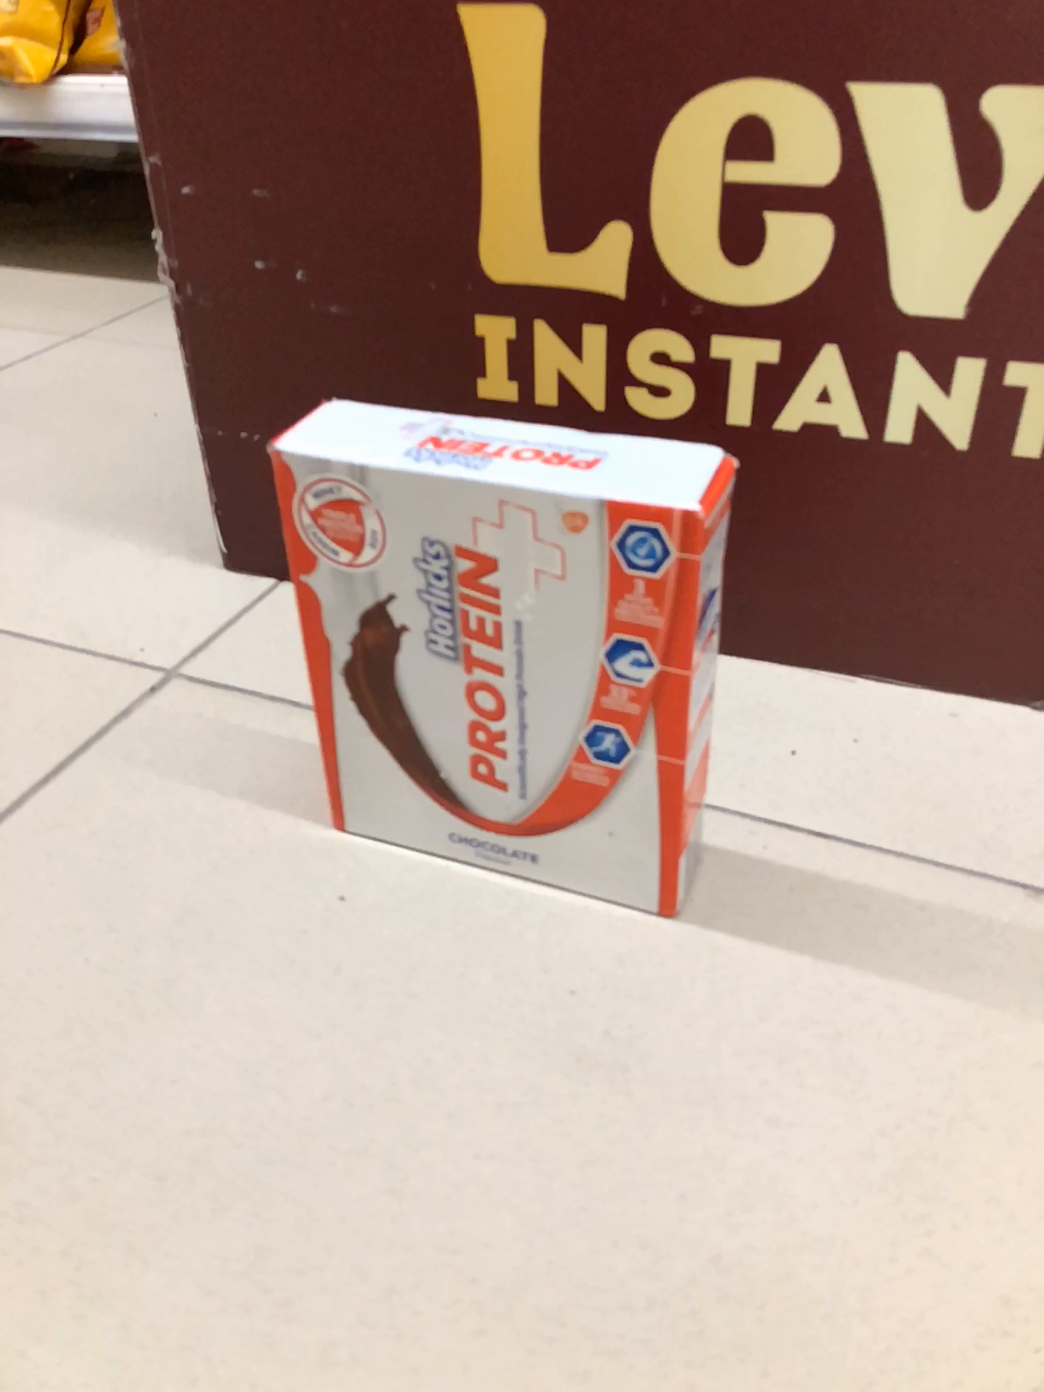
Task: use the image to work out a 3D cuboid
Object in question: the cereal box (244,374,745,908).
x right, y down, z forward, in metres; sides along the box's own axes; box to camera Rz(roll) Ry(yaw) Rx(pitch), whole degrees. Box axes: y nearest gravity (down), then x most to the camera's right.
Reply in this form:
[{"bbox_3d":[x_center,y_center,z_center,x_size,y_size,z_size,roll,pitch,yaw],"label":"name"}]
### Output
[{"bbox_3d":[-0.007,-0.018,0.379,0.140,0.149,0.050,12,37,19],"label":"cereal box"}]
